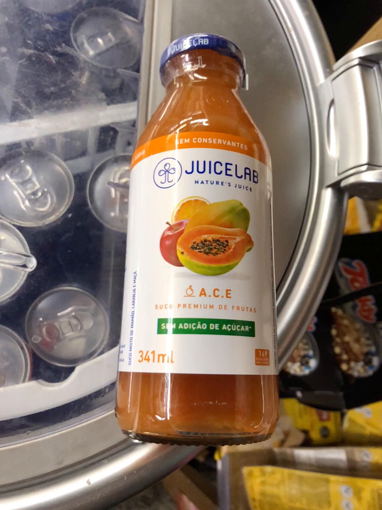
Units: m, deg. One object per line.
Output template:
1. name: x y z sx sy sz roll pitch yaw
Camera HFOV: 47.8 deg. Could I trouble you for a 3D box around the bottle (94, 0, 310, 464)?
1. bottle: 0.005 -0.021 0.182 0.070 0.050 0.190 5 76 -10
